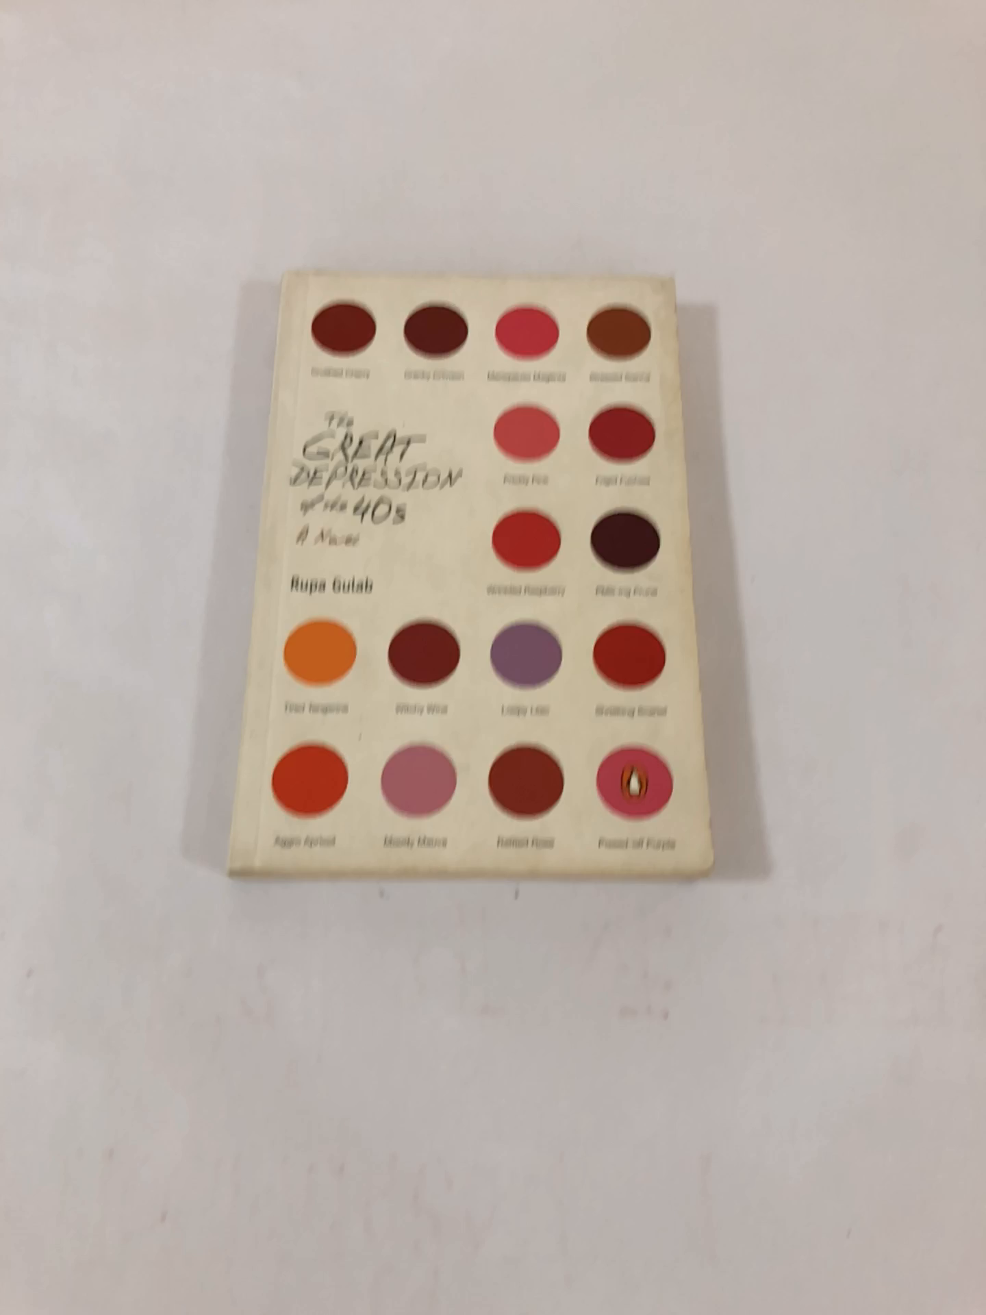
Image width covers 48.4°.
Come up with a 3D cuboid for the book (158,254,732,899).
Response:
[{"bbox_3d":[-0.011,-0.030,0.317,0.140,0.030,0.190,1,68,0],"label":"book"}]
